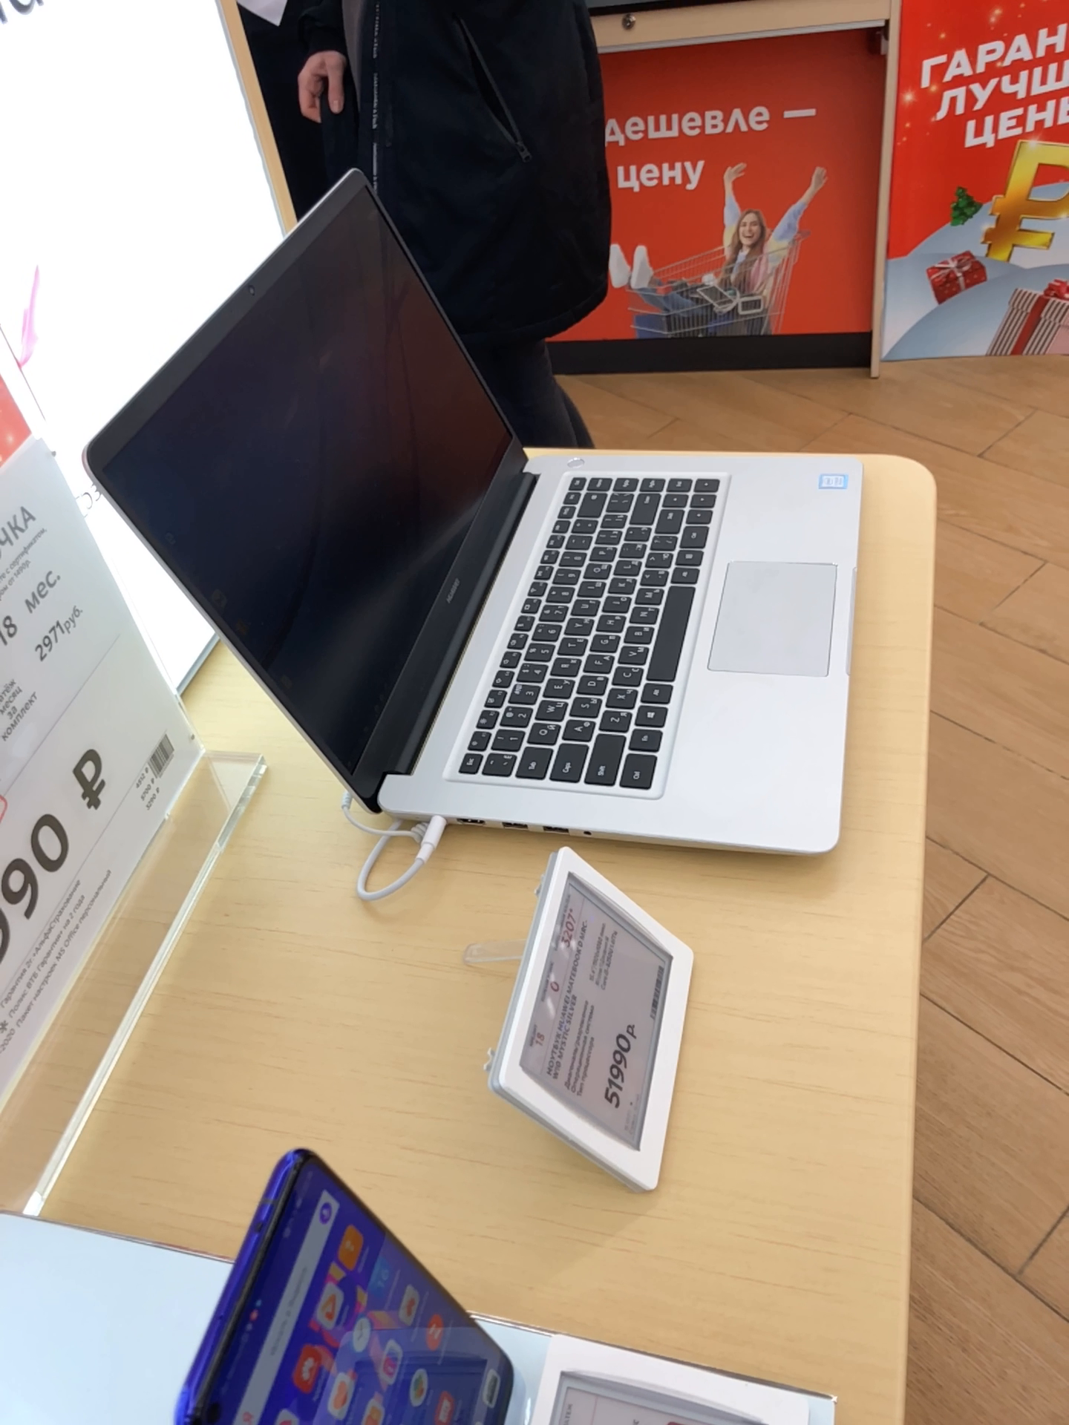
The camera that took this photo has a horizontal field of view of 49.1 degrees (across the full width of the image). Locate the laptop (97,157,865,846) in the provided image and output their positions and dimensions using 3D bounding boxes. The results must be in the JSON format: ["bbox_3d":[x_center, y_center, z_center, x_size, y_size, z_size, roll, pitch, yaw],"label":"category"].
[{"bbox_3d":[0.016,-0.133,0.641,0.305,0.204,0.342,3,43,15],"label":"laptop"}]
